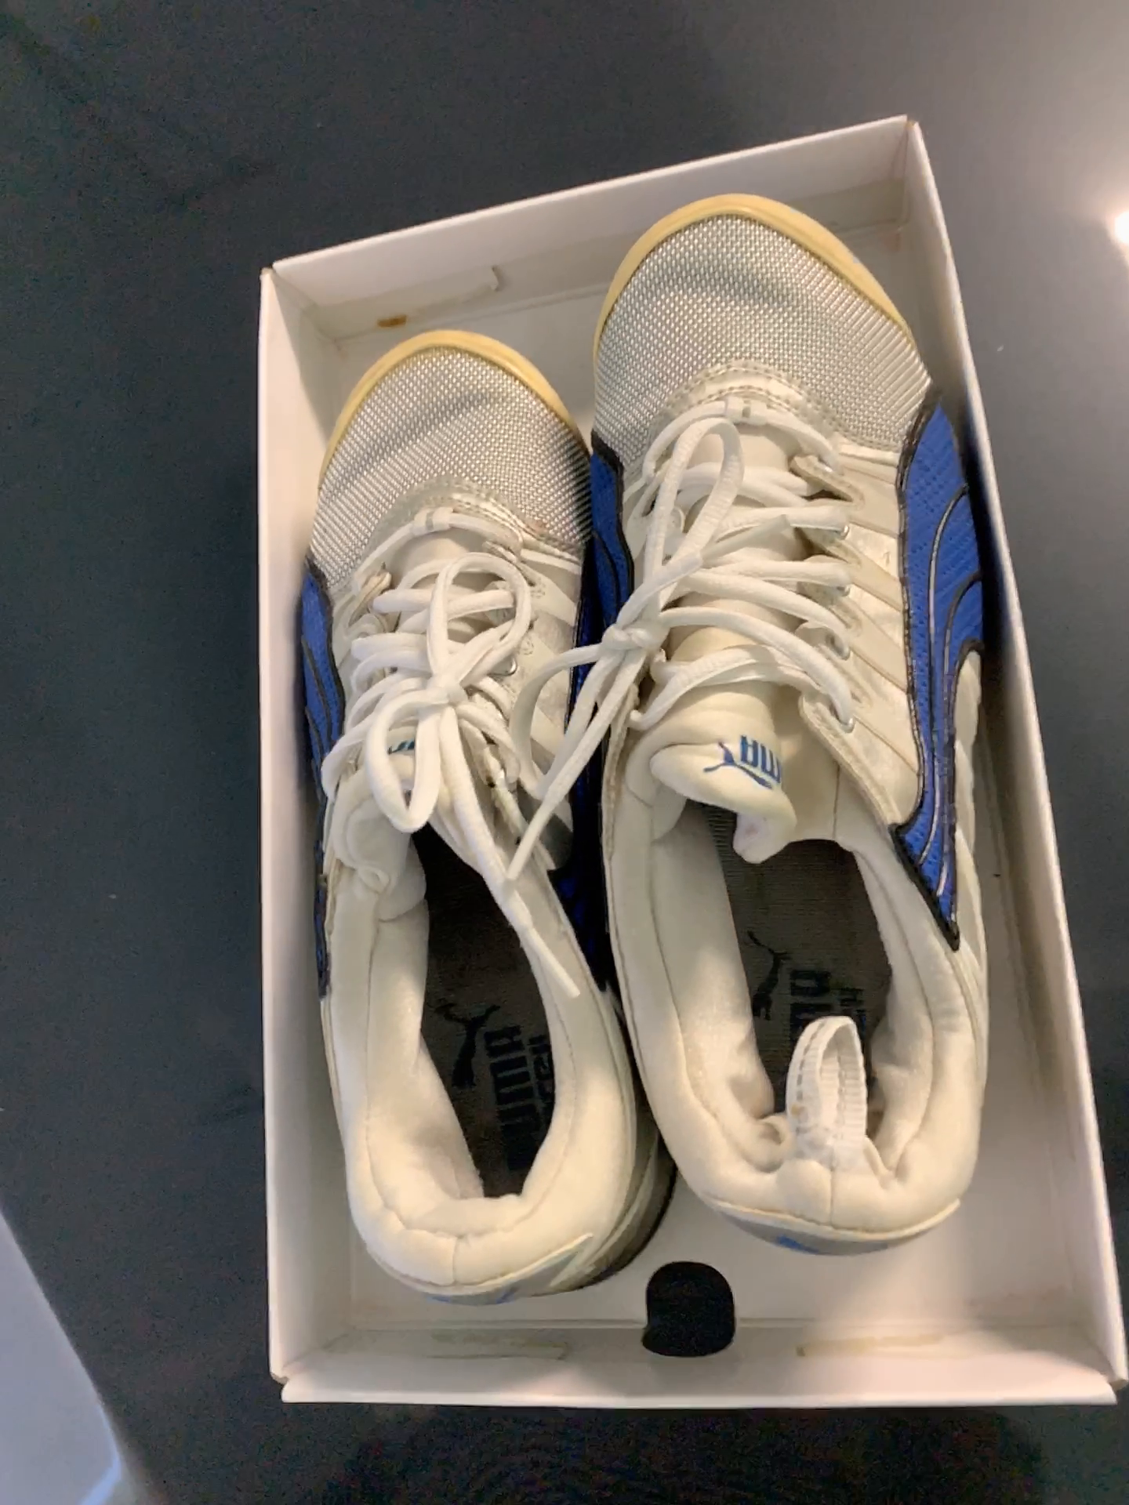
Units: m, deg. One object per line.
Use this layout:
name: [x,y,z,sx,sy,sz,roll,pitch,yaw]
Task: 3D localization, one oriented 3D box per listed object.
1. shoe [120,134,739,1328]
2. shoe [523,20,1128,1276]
shoe: [-0.032,-0.011,0.310,0.110,0.089,0.282,-9,67,12]
shoe: [0.056,-0.028,0.288,0.110,0.089,0.282,-6,68,14]
